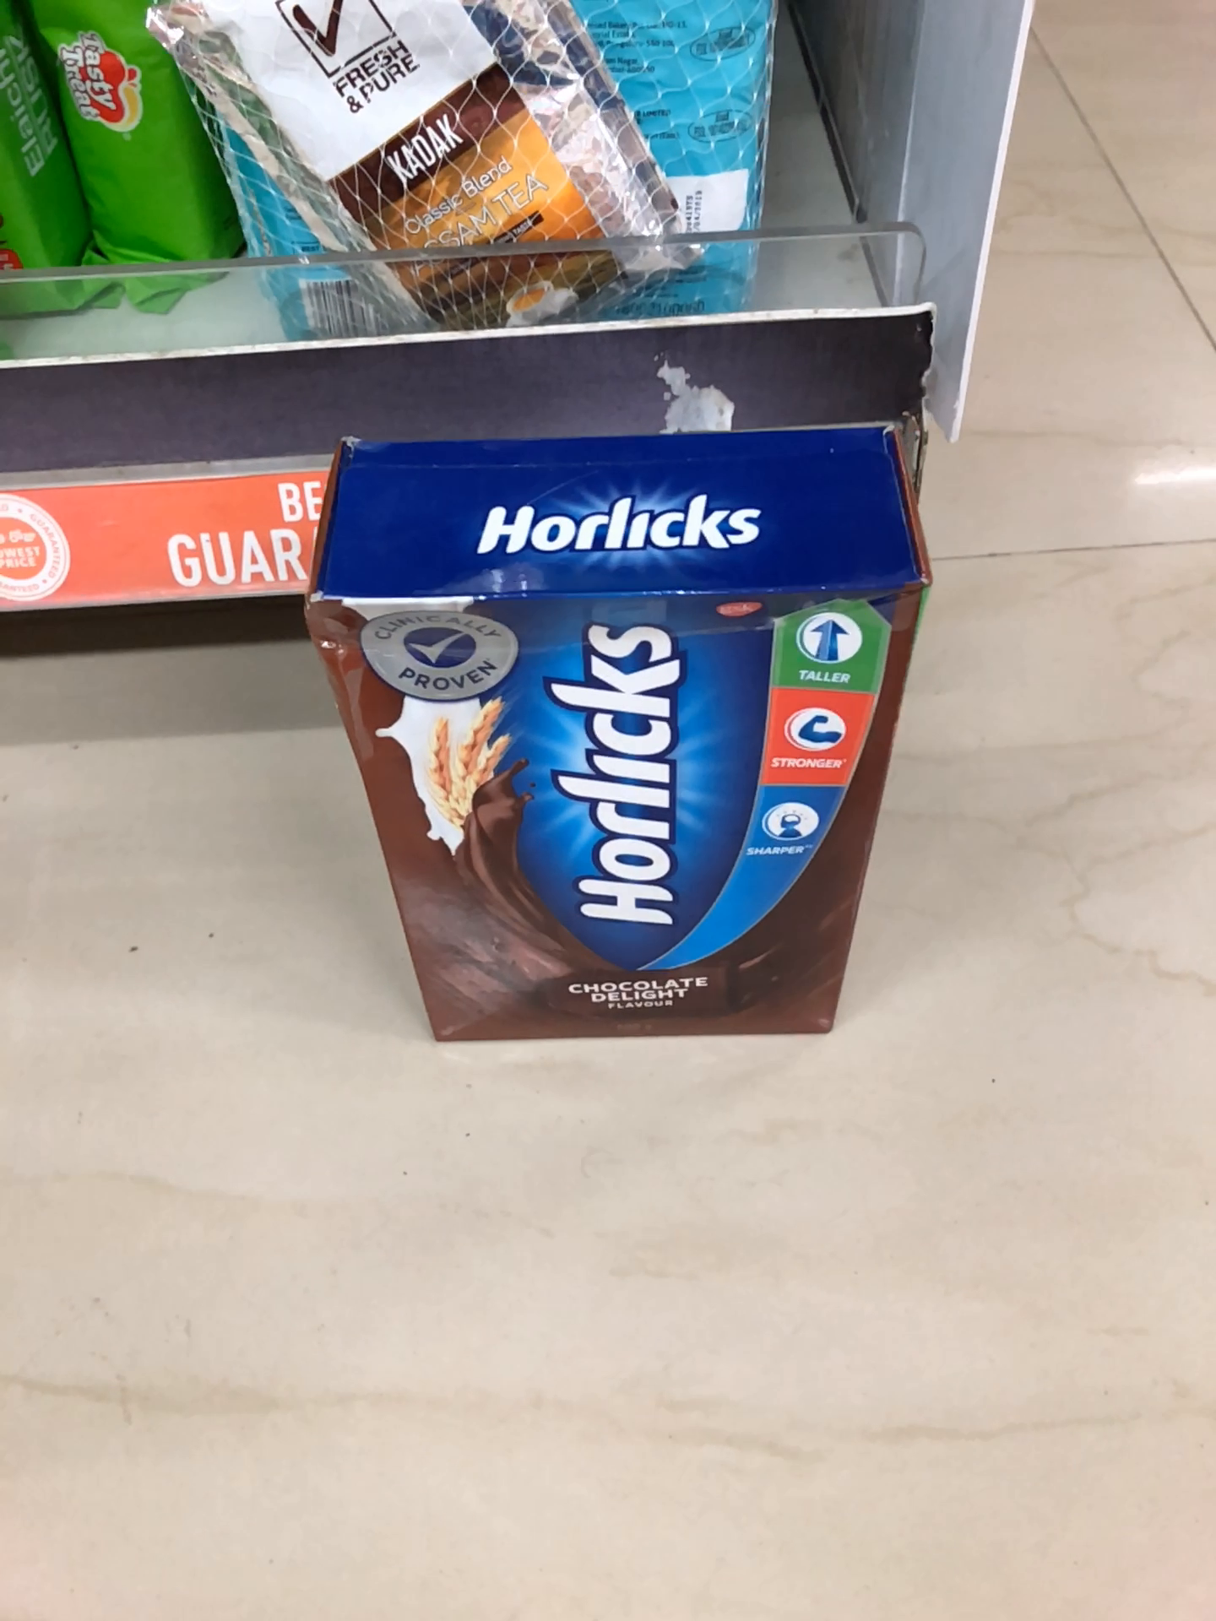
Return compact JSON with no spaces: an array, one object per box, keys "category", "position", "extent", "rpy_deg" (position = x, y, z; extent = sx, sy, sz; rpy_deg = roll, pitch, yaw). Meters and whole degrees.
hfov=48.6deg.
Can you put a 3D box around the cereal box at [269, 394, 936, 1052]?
[{"category":"cereal box","position":[0.002,-0.009,0.384],"extent":[0.140,0.209,0.060],"rpy_deg":[-2,52,1]}]
